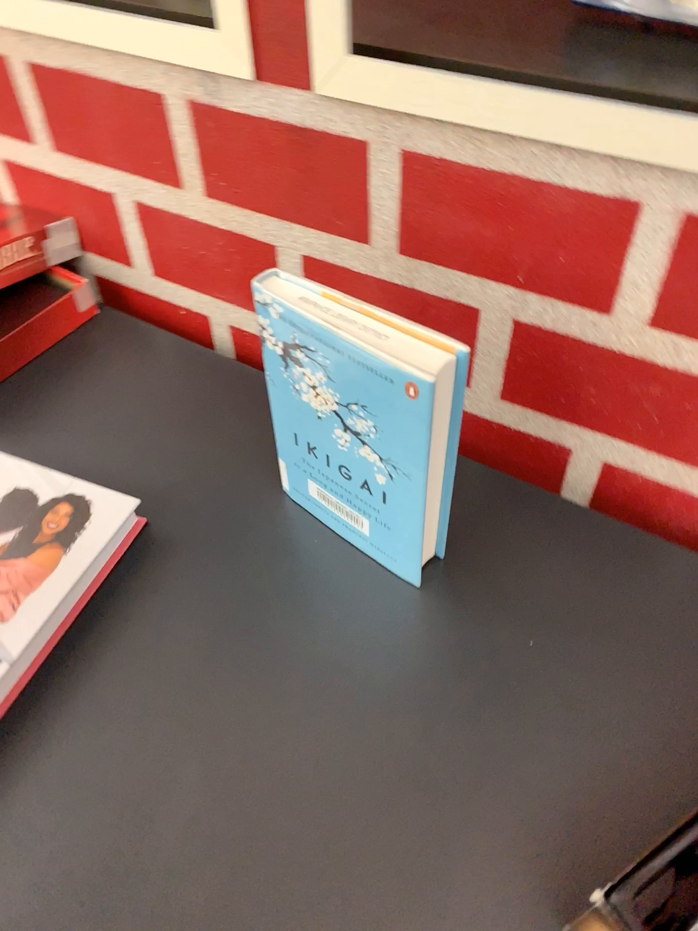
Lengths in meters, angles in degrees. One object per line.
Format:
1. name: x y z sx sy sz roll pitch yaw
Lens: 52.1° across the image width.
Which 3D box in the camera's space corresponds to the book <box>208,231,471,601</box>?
1. book: -0.004 -0.023 0.446 0.150 0.199 0.040 33 59 29
